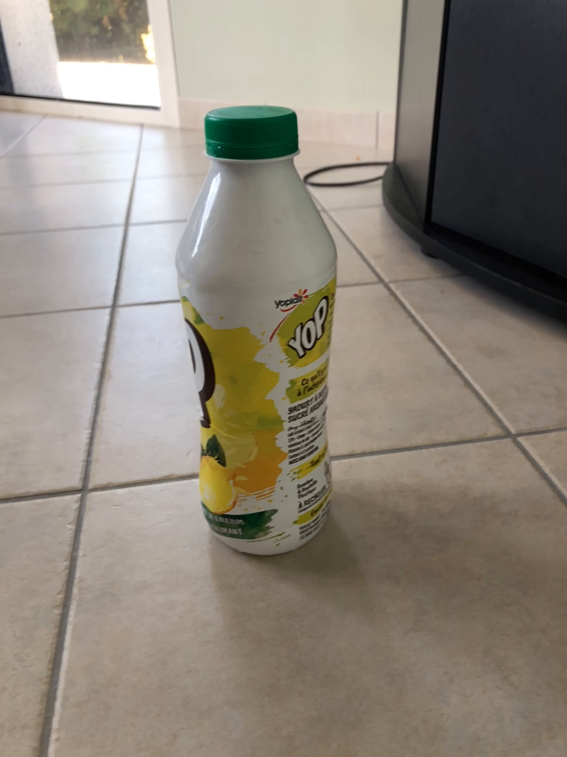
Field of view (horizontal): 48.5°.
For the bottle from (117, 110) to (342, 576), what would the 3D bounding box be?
[{"bbox_3d":[-0.015,-0.013,0.333,0.080,0.229,0.081,-2,30,1],"label":"bottle"}]
